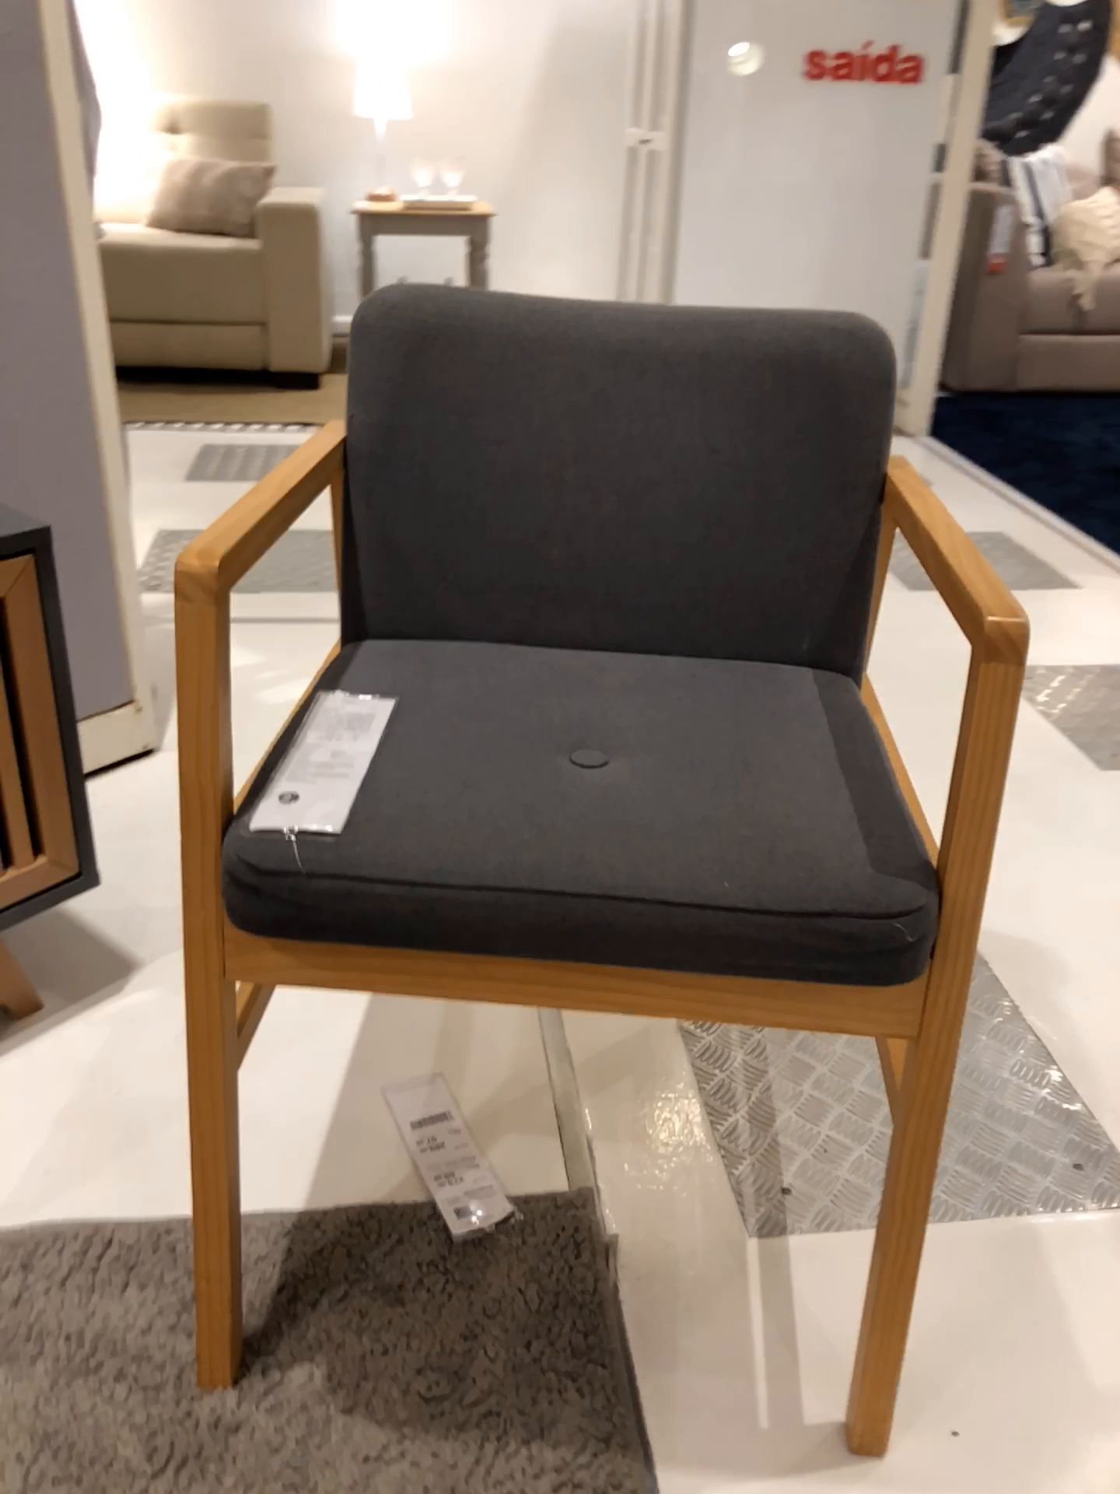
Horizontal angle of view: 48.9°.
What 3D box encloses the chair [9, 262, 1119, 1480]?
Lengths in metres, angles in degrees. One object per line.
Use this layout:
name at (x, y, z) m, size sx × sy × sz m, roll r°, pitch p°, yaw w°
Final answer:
chair at (0.022, 0.028, 1.055) m, size 0.560 × 0.735 × 0.705 m, roll 3°, pitch 27°, yaw 2°
